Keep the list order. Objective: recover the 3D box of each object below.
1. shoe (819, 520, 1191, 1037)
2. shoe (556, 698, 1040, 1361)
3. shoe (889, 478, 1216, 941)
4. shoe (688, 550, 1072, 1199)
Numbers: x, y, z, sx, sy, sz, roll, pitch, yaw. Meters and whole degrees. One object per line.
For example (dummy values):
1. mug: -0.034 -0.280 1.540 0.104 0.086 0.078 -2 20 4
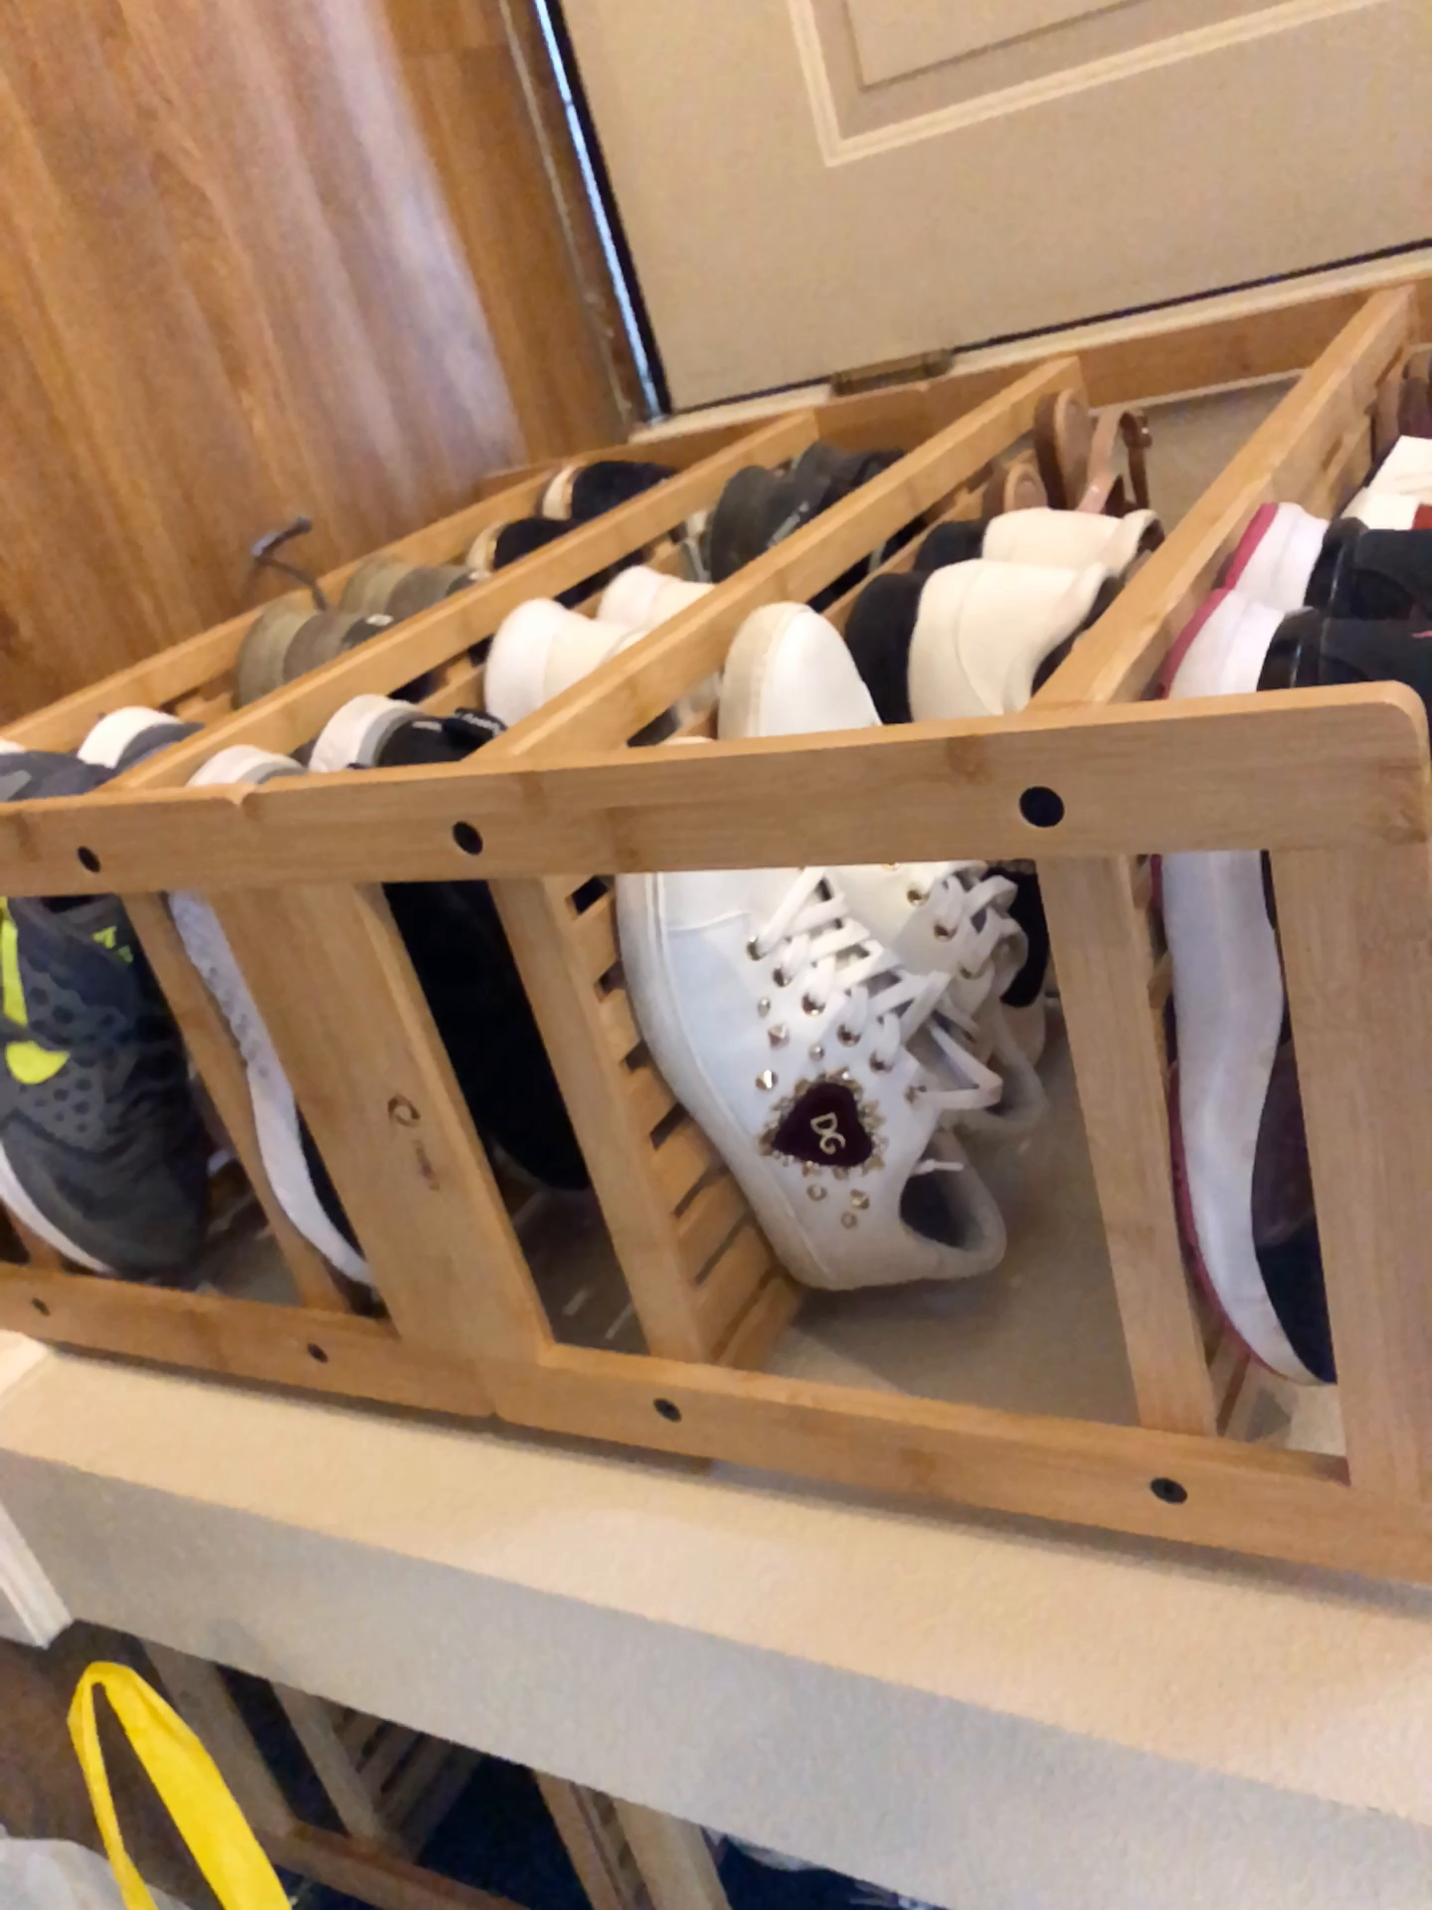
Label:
1. shoe: 0.138 -0.077 0.735 0.090 0.113 0.210 -41 124 -51
2. shoe: 0.046 0.038 0.633 0.100 0.080 0.261 -61 138 -39
3. shoe: 0.178 -0.122 0.824 0.090 0.113 0.210 -41 124 -51
4. shoe: 0.076 -0.027 0.659 0.090 0.070 0.251 -52 132 -45
